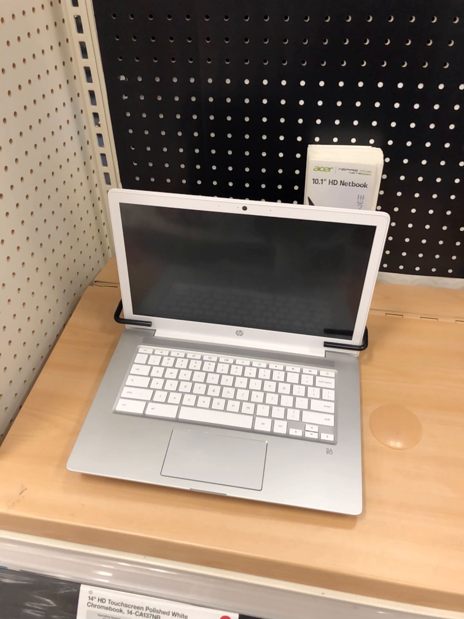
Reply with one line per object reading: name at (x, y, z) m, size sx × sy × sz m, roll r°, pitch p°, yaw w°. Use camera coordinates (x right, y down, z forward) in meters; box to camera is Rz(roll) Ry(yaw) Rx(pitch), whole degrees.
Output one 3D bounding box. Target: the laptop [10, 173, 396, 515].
laptop at (-0.008, 0.023, 0.590) m, size 0.333 × 0.198 × 0.281 m, roll 5°, pitch 44°, yaw 6°
